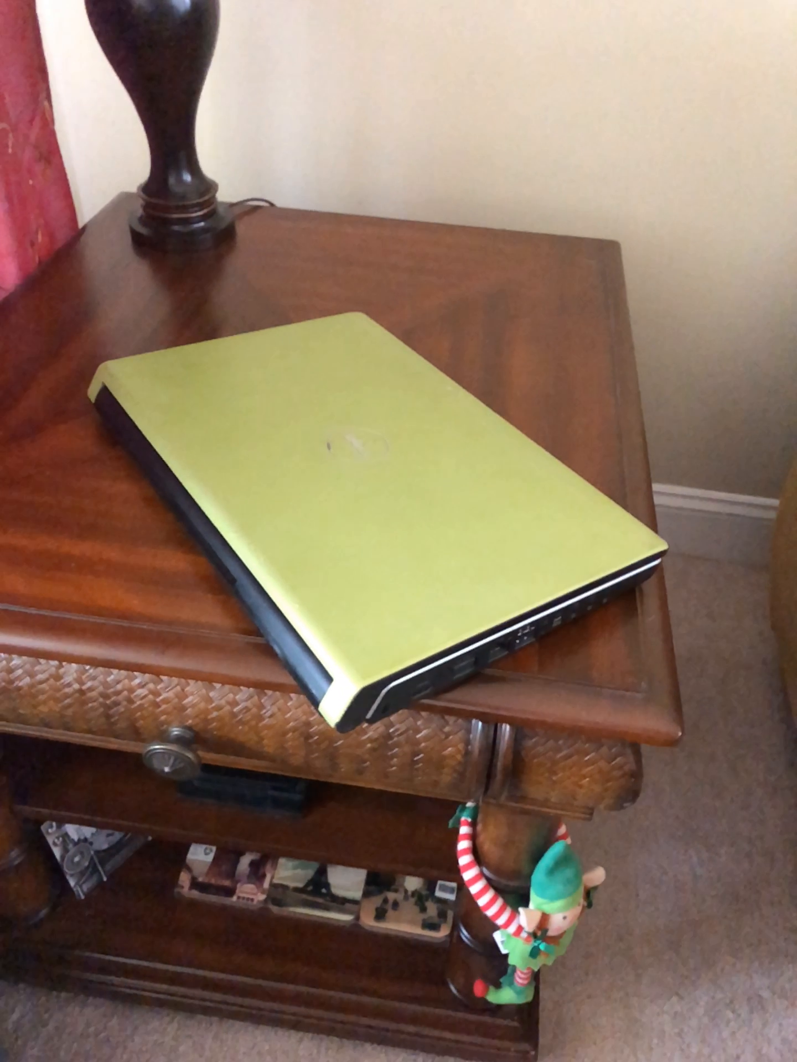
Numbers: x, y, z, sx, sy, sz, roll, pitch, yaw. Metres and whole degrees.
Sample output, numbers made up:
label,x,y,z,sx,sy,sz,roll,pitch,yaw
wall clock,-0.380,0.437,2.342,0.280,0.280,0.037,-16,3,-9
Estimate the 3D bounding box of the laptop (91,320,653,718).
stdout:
label,x,y,z,sx,sy,sz,roll,pitch,yaw
laptop,-0.038,-0.047,0.633,0.237,0.020,0.379,-19,45,-30
